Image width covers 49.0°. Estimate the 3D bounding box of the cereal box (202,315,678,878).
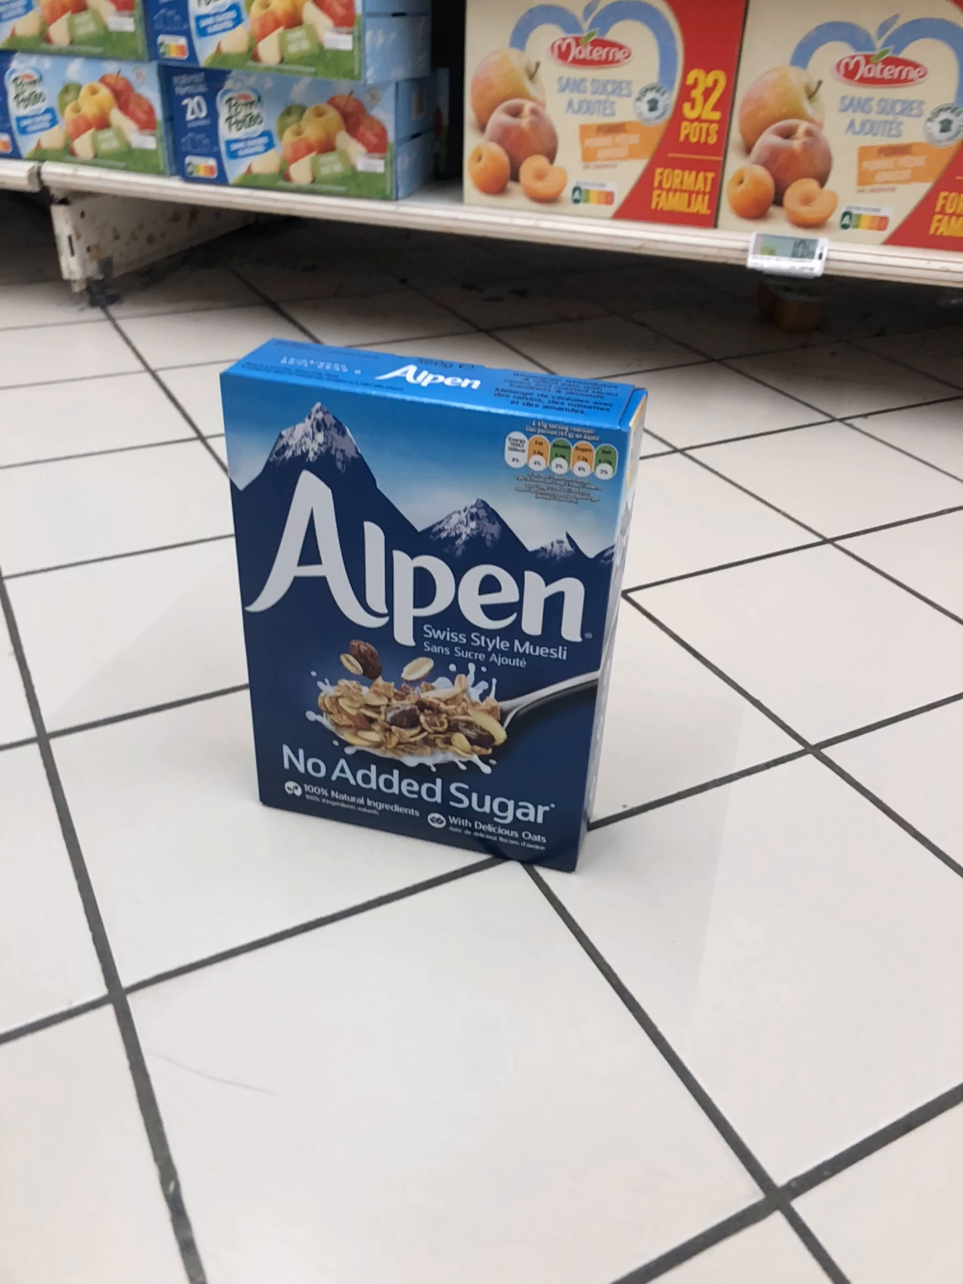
[{"bbox_3d":[-0.020,-0.016,0.482,0.180,0.229,0.060,10,33,12],"label":"cereal box"}]
